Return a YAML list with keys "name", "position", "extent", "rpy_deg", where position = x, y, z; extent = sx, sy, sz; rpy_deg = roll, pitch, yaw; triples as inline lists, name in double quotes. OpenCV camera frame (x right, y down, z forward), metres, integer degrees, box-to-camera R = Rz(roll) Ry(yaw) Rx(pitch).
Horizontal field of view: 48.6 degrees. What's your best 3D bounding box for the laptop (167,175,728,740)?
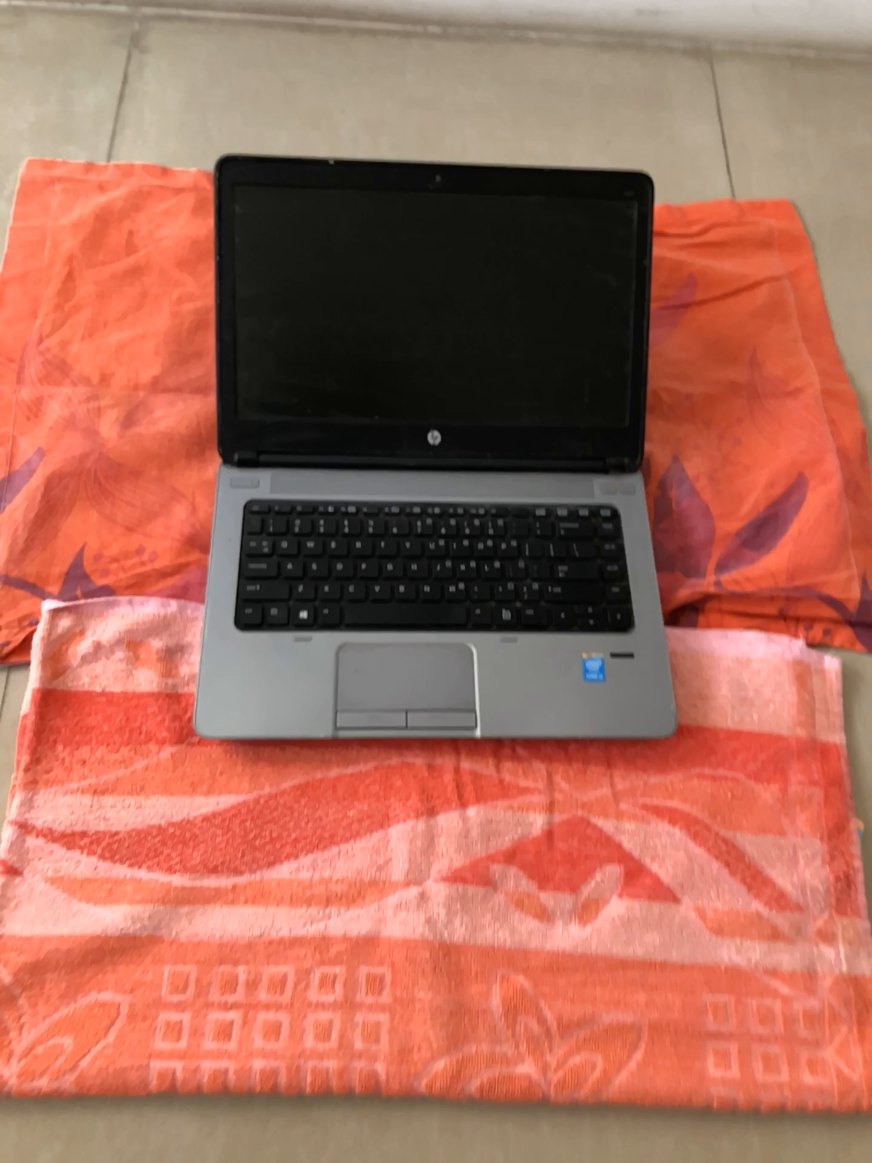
- name: "laptop"
  position: [0.004, -0.098, 0.704]
  extent: [0.328, 0.111, 0.411]
  rpy_deg: [1, 64, -5]
